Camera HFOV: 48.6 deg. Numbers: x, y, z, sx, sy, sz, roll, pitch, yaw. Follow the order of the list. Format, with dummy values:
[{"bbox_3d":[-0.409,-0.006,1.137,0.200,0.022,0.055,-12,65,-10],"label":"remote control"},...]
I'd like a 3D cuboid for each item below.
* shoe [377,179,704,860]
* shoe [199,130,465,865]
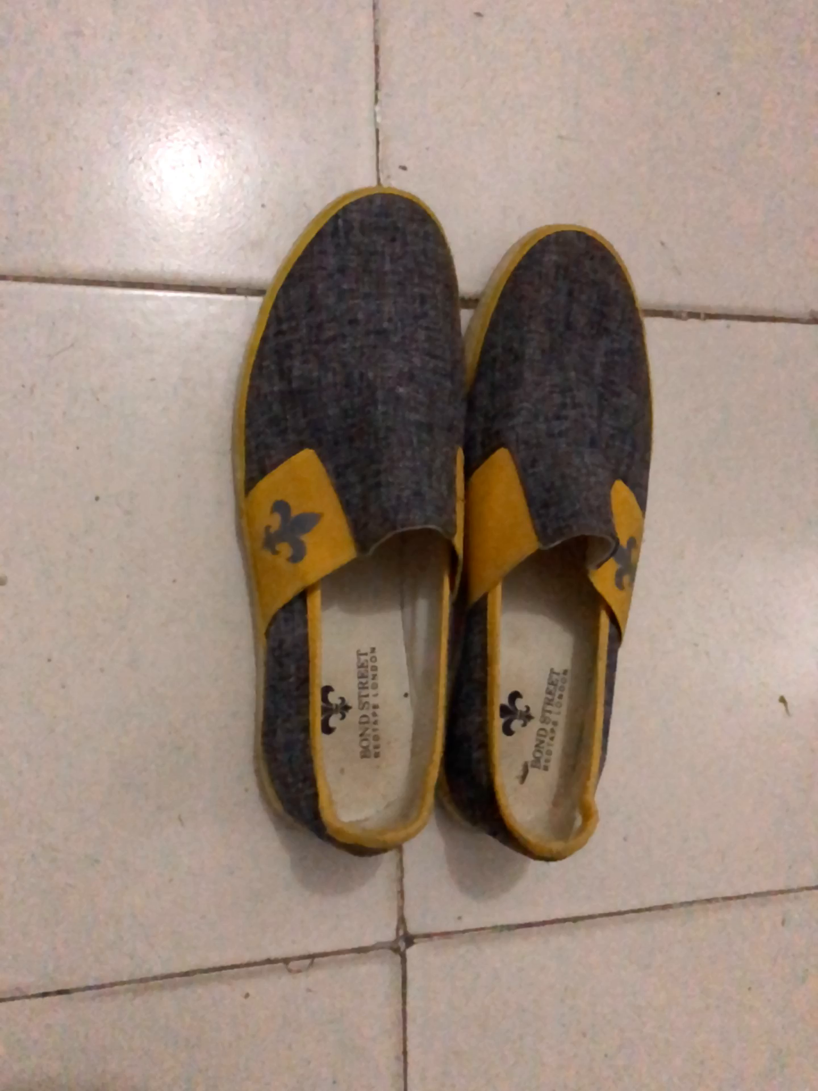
[{"bbox_3d":[0.054,-0.007,0.405,0.090,0.100,0.260,7,85,-15],"label":"shoe"},{"bbox_3d":[-0.039,-0.018,0.417,0.100,0.100,0.290,2,87,-15],"label":"shoe"}]
